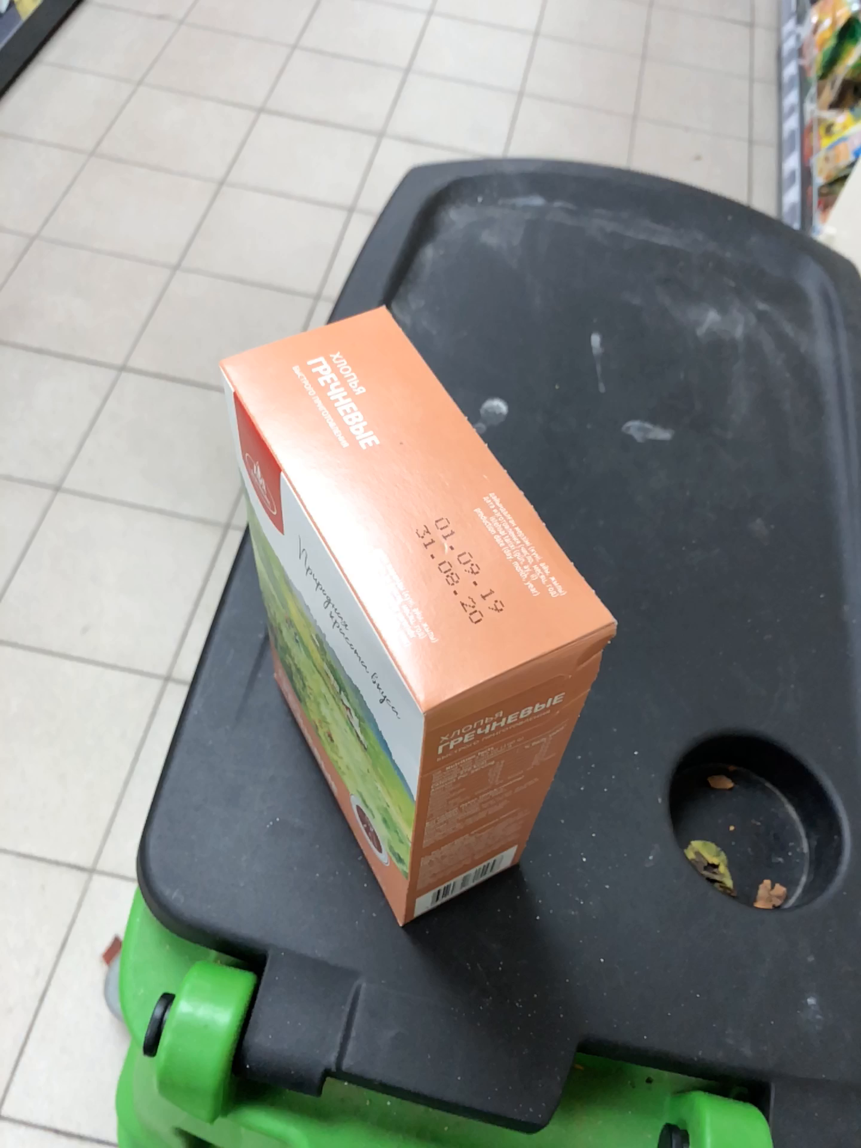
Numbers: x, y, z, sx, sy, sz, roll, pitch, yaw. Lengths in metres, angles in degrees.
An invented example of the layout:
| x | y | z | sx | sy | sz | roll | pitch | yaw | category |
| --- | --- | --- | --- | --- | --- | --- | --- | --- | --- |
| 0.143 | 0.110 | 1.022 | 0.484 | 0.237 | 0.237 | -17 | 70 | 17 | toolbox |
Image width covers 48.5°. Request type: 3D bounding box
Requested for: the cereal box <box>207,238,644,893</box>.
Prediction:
| x | y | z | sx | sy | sz | roll | pitch | yaw | category |
| --- | --- | --- | --- | --- | --- | --- | --- | --- | --- |
| -0.011 | 0.013 | 0.352 | 0.060 | 0.209 | 0.140 | -24 | 62 | -17 | cereal box |
